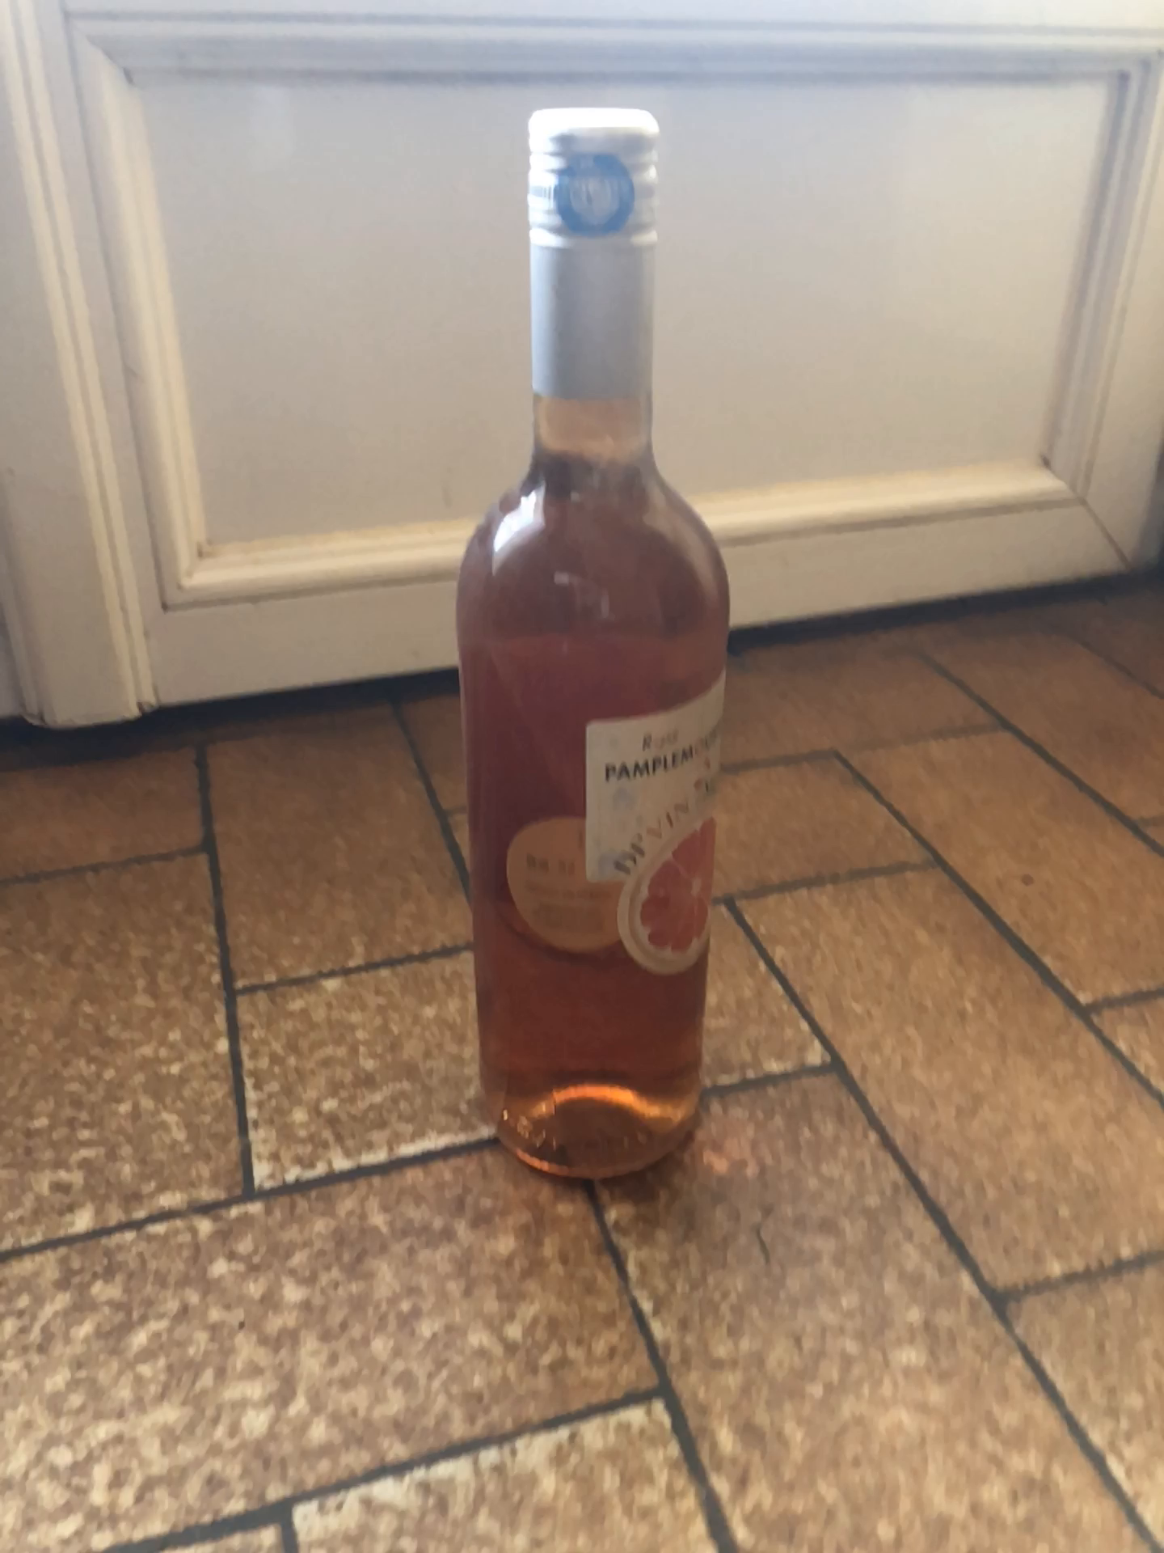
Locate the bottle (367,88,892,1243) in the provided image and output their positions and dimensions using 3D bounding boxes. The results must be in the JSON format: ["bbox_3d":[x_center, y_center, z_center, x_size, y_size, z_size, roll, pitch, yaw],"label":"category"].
[{"bbox_3d":[0.007,-0.019,0.344,0.080,0.288,0.080,0,30,0],"label":"bottle"}]
